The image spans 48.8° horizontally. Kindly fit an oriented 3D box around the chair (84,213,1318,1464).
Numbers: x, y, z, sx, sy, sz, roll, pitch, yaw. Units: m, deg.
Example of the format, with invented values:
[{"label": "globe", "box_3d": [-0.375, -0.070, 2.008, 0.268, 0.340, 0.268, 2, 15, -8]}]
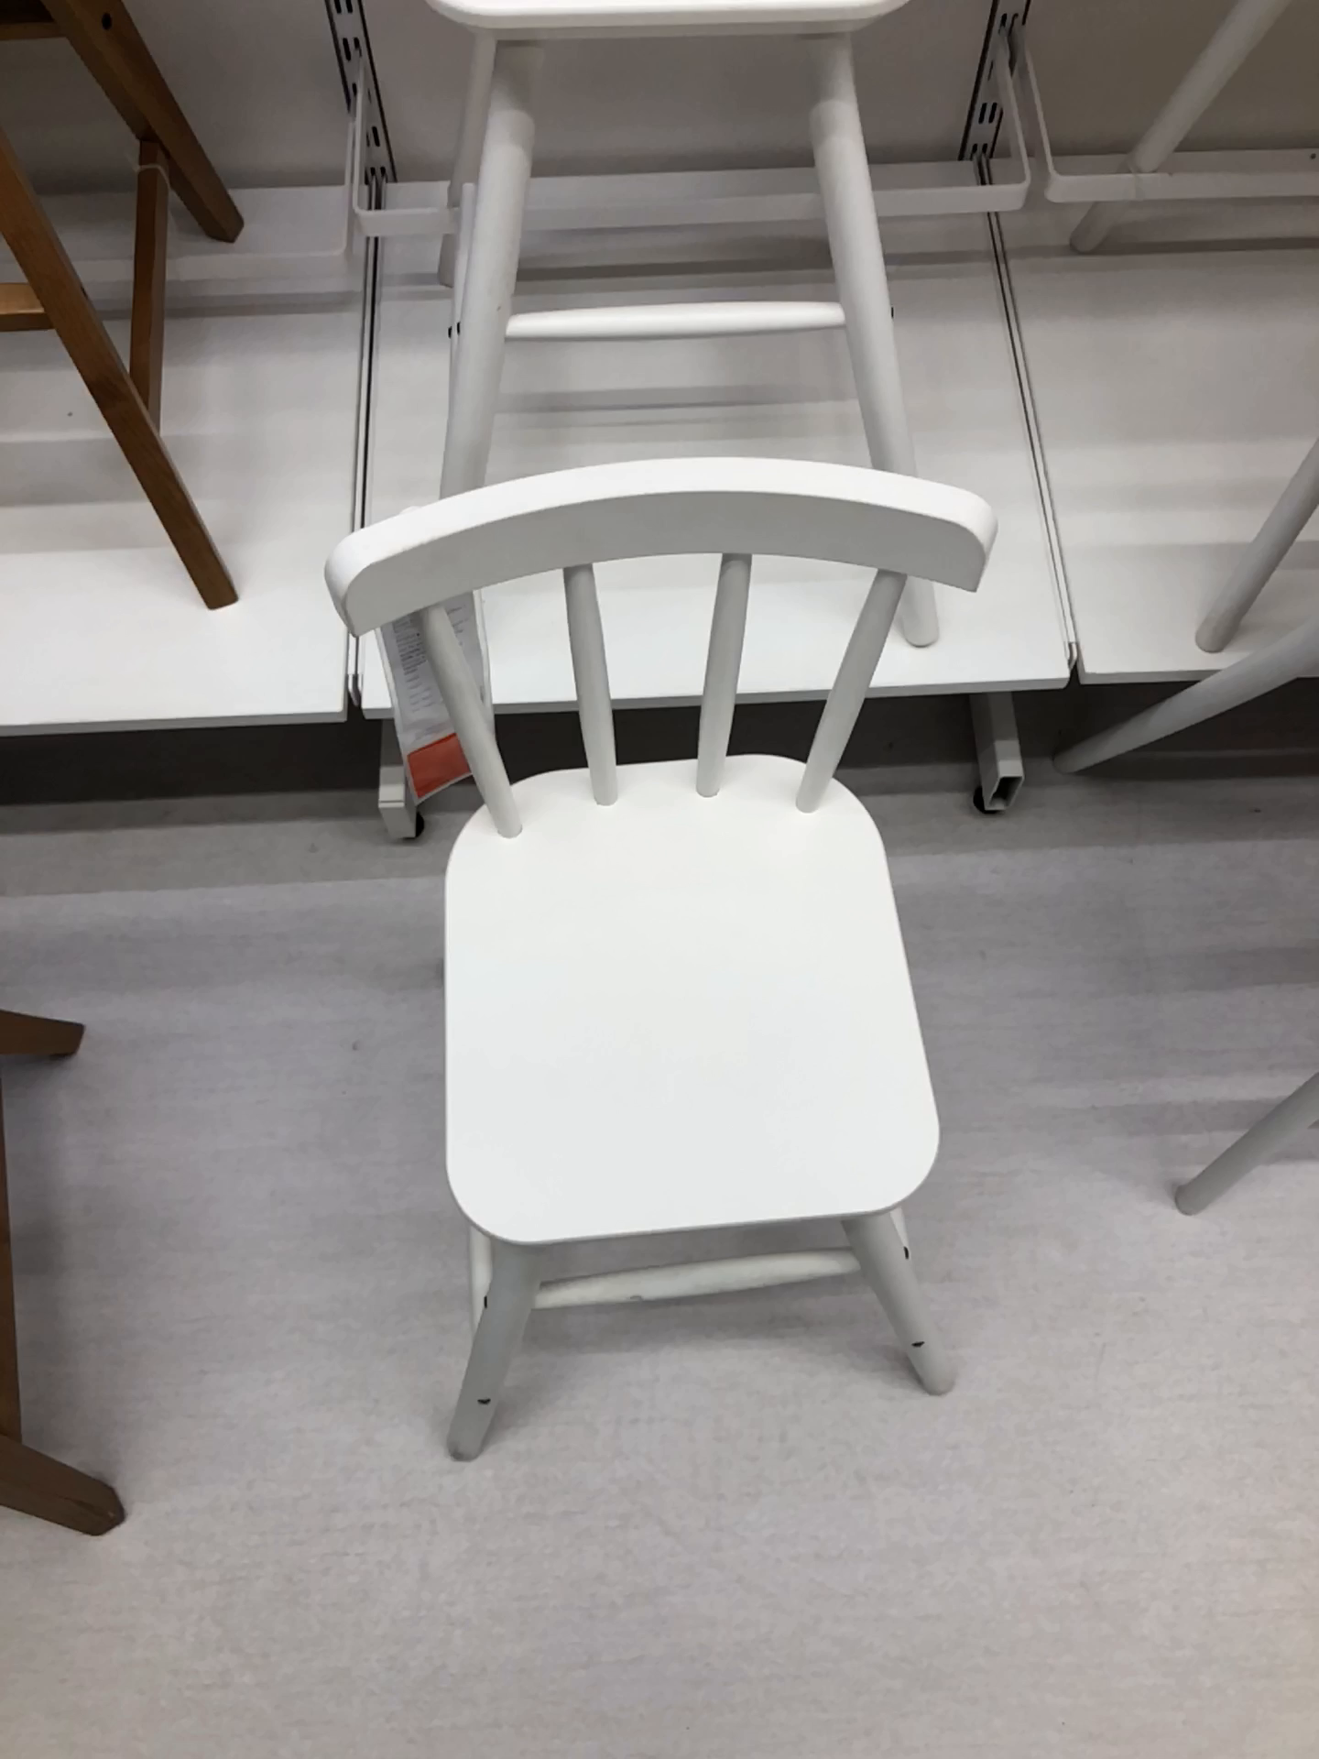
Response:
[{"label": "chair", "box_3d": [0.011, 0.081, 0.977, 0.470, 0.797, 0.502, -6, 66, -2]}]
